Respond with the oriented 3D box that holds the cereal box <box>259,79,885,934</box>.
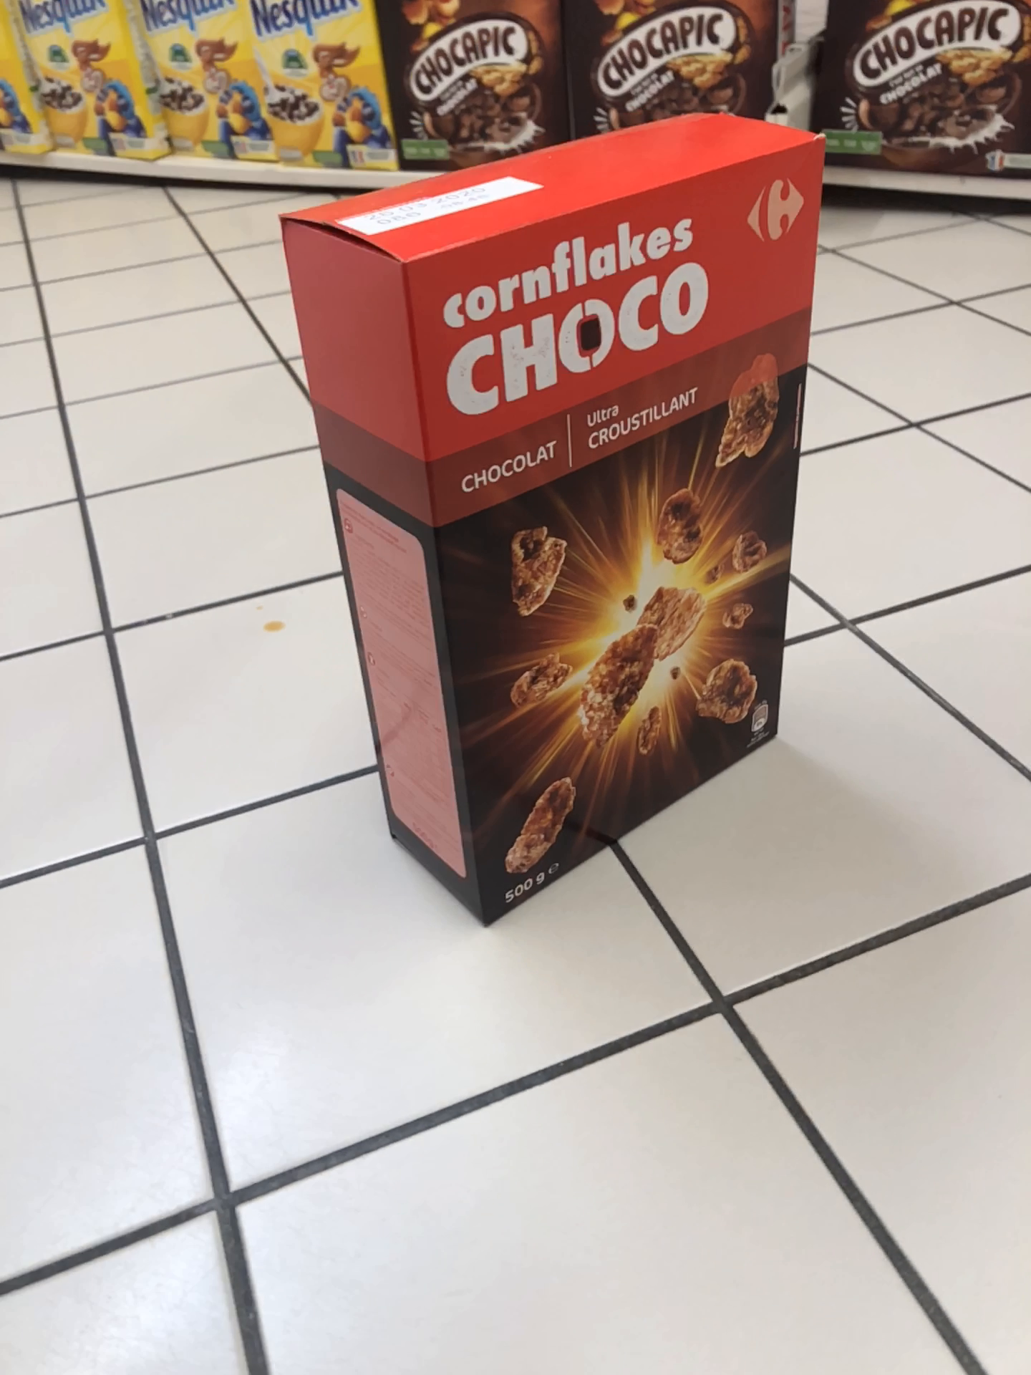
[{"bbox_3d":[0.034,-0.072,0.462,0.201,0.278,0.090,-28,42,-29],"label":"cereal box"}]
